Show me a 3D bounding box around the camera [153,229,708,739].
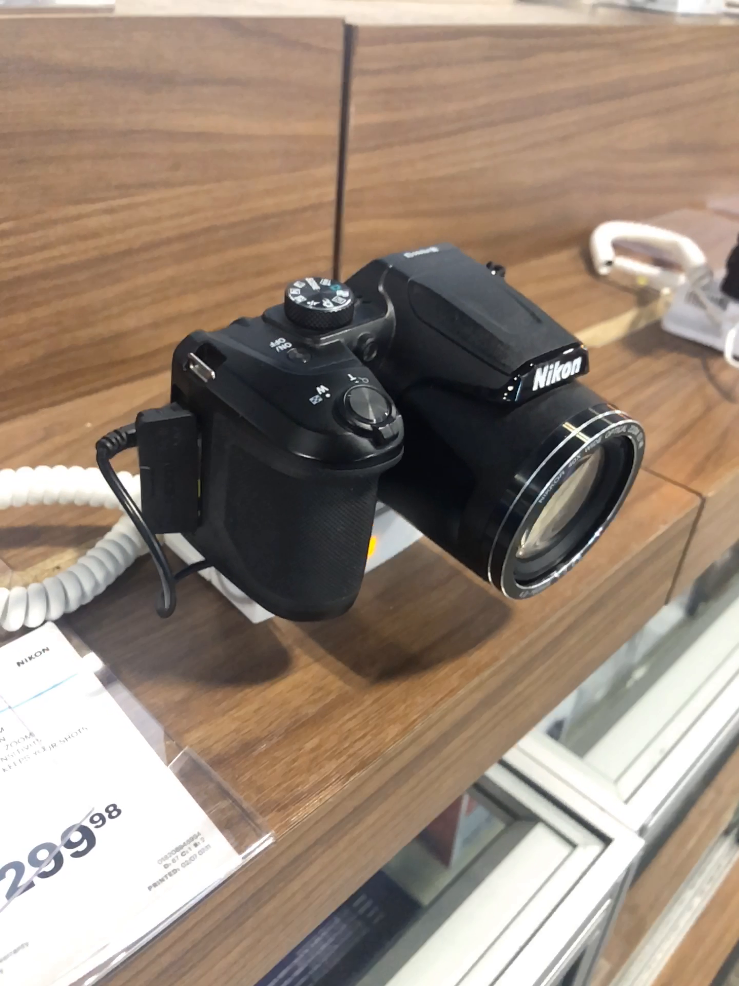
[{"bbox_3d":[0.015,-0.015,0.235,0.096,0.079,0.110,31,41,34],"label":"camera"}]
